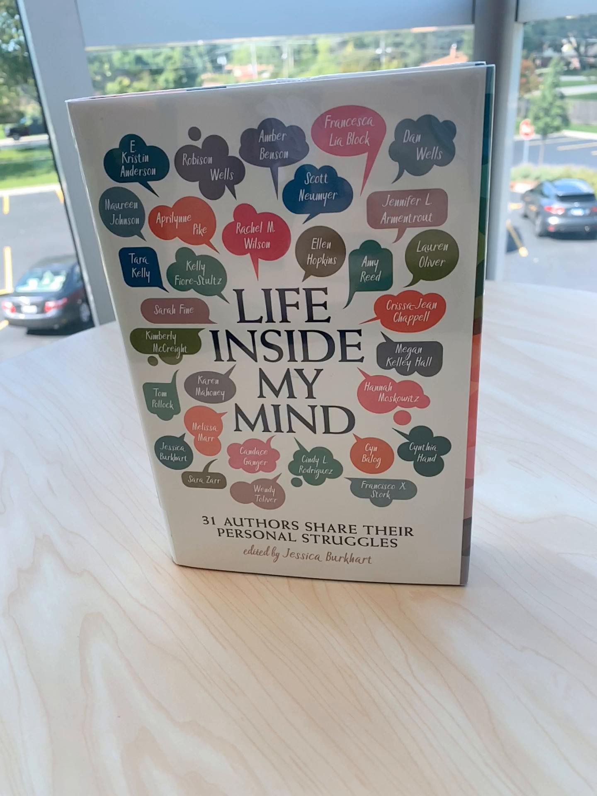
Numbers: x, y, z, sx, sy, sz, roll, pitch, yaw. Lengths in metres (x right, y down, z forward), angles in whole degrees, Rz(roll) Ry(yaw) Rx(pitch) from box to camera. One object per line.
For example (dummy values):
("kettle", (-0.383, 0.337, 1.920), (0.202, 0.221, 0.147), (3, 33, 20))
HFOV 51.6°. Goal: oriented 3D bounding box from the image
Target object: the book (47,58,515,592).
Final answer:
("book", (0.000, -0.013, 0.260), (0.150, 0.218, 0.030), (1, 30, 10))
